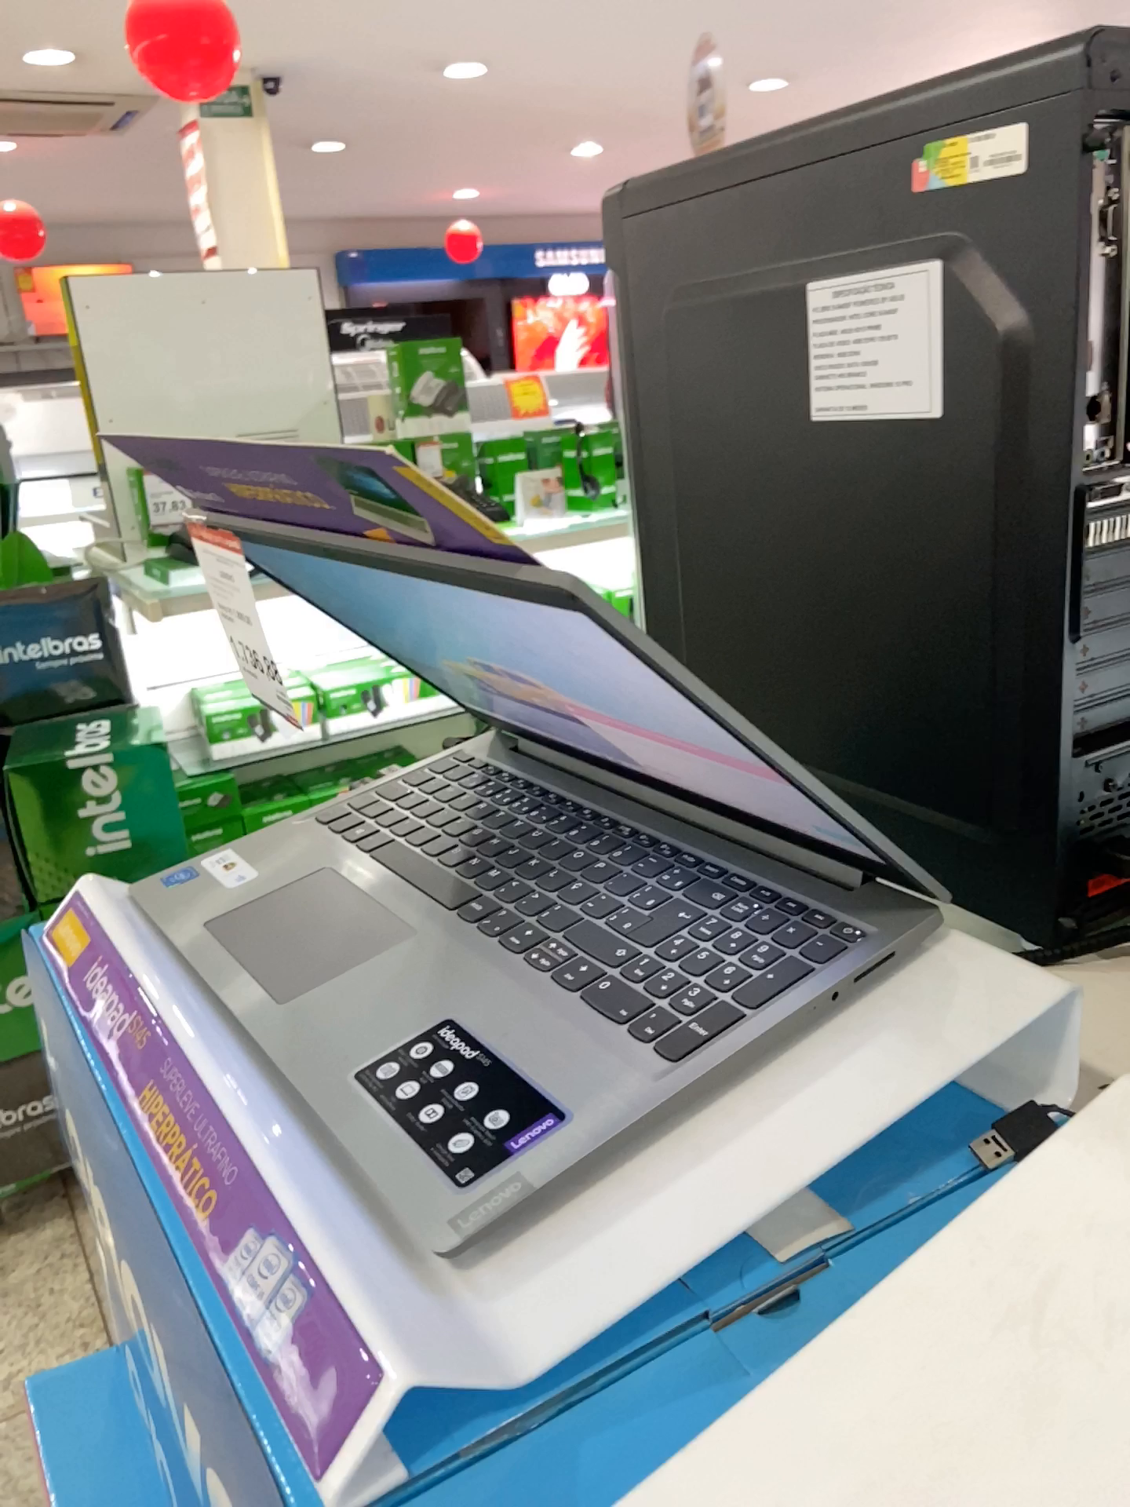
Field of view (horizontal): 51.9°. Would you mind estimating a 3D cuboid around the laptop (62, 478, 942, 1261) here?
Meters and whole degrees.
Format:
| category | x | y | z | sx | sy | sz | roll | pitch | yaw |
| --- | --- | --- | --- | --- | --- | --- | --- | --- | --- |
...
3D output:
| category | x | y | z | sx | sy | sz | roll | pitch | yaw |
| --- | --- | --- | --- | --- | --- | --- | --- | --- | --- |
| laptop | -0.052 | -0.006 | 0.536 | 0.244 | 0.162 | 0.357 | -23 | 25 | -29 |
